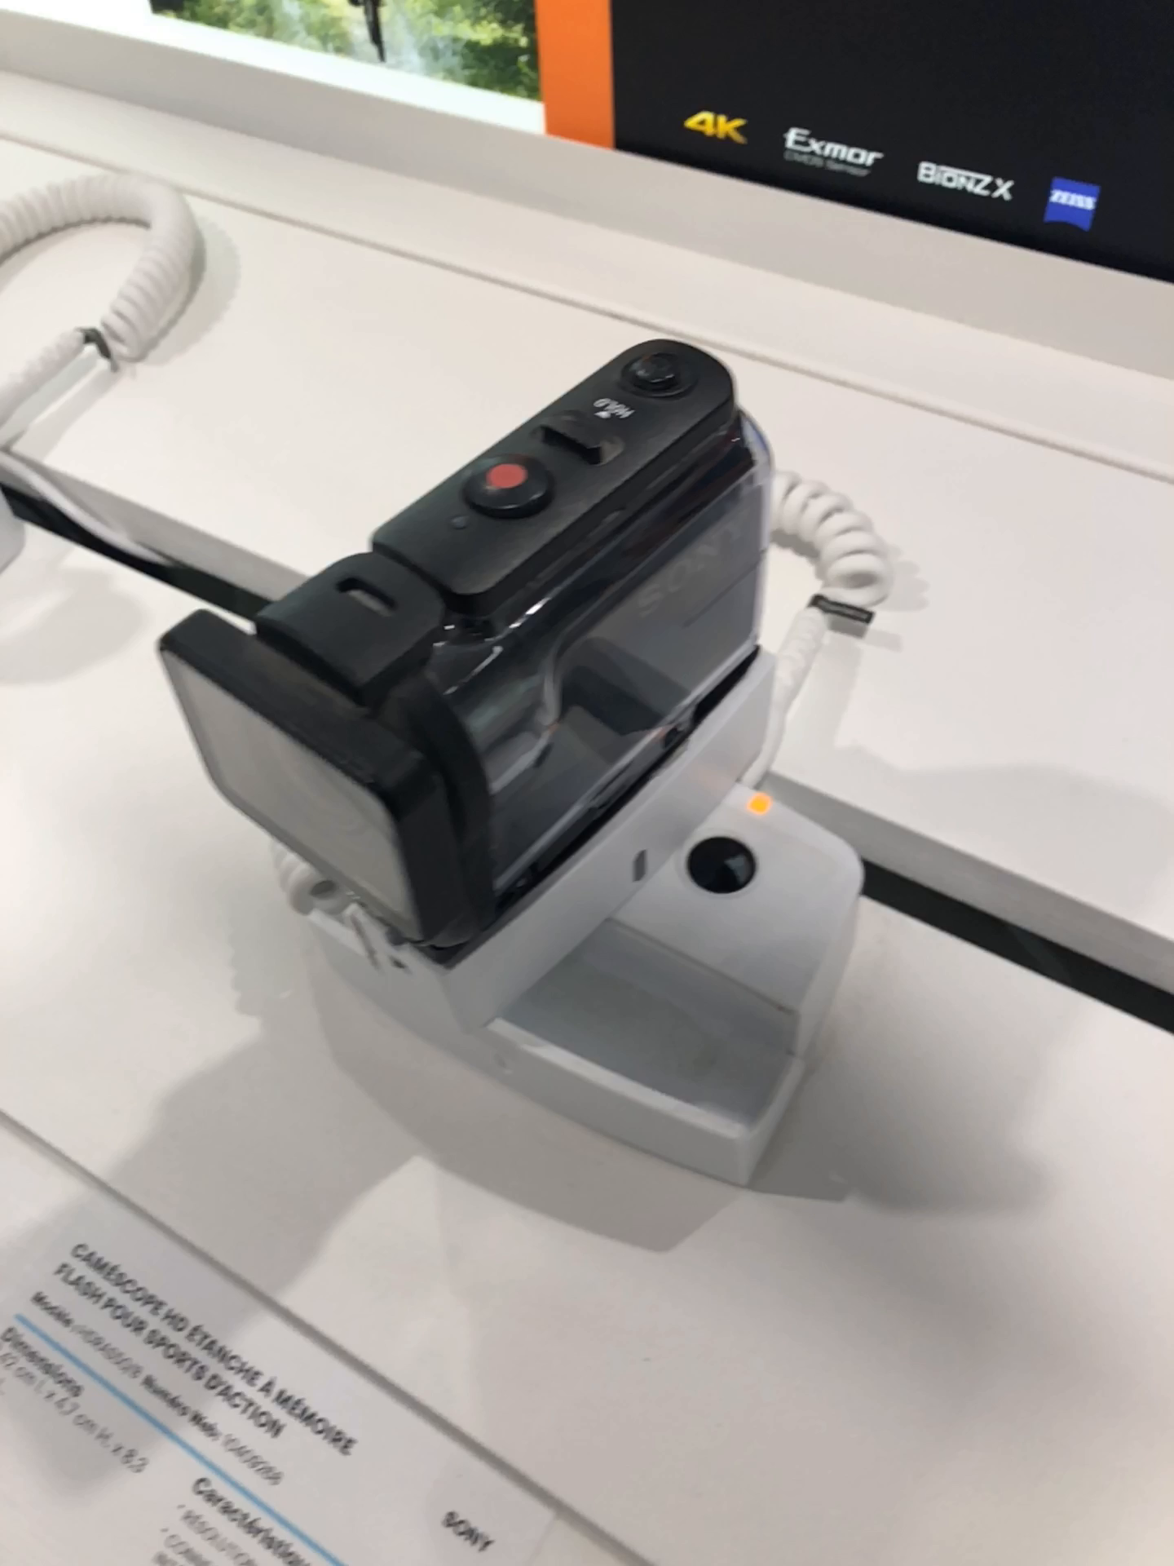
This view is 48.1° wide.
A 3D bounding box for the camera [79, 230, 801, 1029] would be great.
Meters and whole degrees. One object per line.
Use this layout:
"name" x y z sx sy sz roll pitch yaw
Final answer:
"camera" -0.013 -0.022 0.193 0.045 0.064 0.087 31 69 26
